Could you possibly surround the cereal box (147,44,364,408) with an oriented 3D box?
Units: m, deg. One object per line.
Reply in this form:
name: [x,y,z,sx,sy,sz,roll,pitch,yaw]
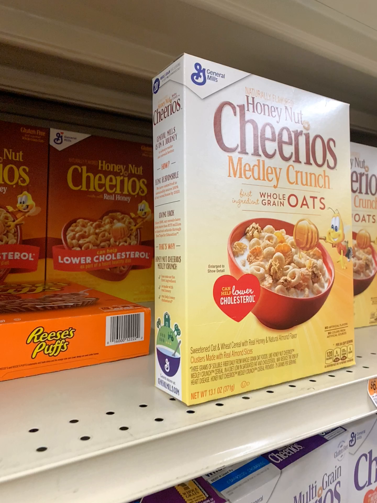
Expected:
cereal box: [0.065,-0.019,0.342,0.190,0.250,0.060,0,-2,-32]
